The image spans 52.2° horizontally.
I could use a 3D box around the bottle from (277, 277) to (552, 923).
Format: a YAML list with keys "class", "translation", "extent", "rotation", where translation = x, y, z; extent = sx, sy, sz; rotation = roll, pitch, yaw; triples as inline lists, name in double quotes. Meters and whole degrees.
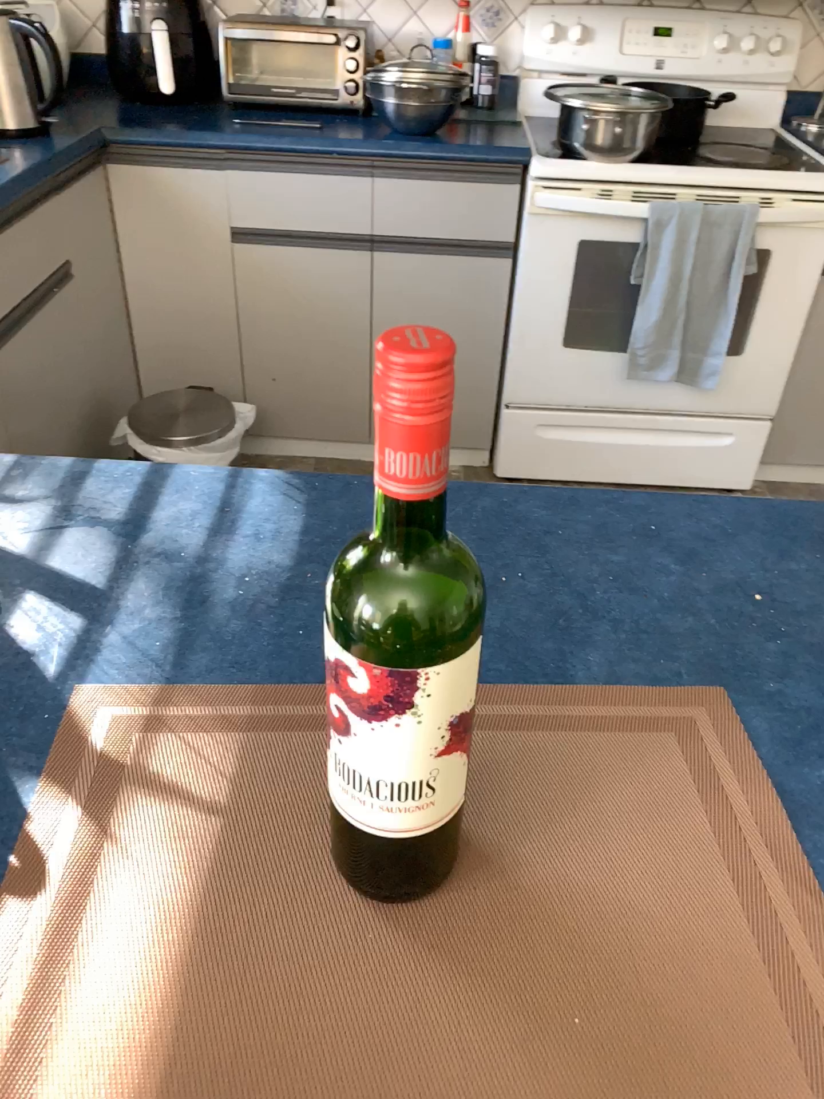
- class: "bottle"
  translation: [-0.001, 0.042, 0.384]
  extent: [0.080, 0.297, 0.081]
  rotation: [2, 36, -1]
